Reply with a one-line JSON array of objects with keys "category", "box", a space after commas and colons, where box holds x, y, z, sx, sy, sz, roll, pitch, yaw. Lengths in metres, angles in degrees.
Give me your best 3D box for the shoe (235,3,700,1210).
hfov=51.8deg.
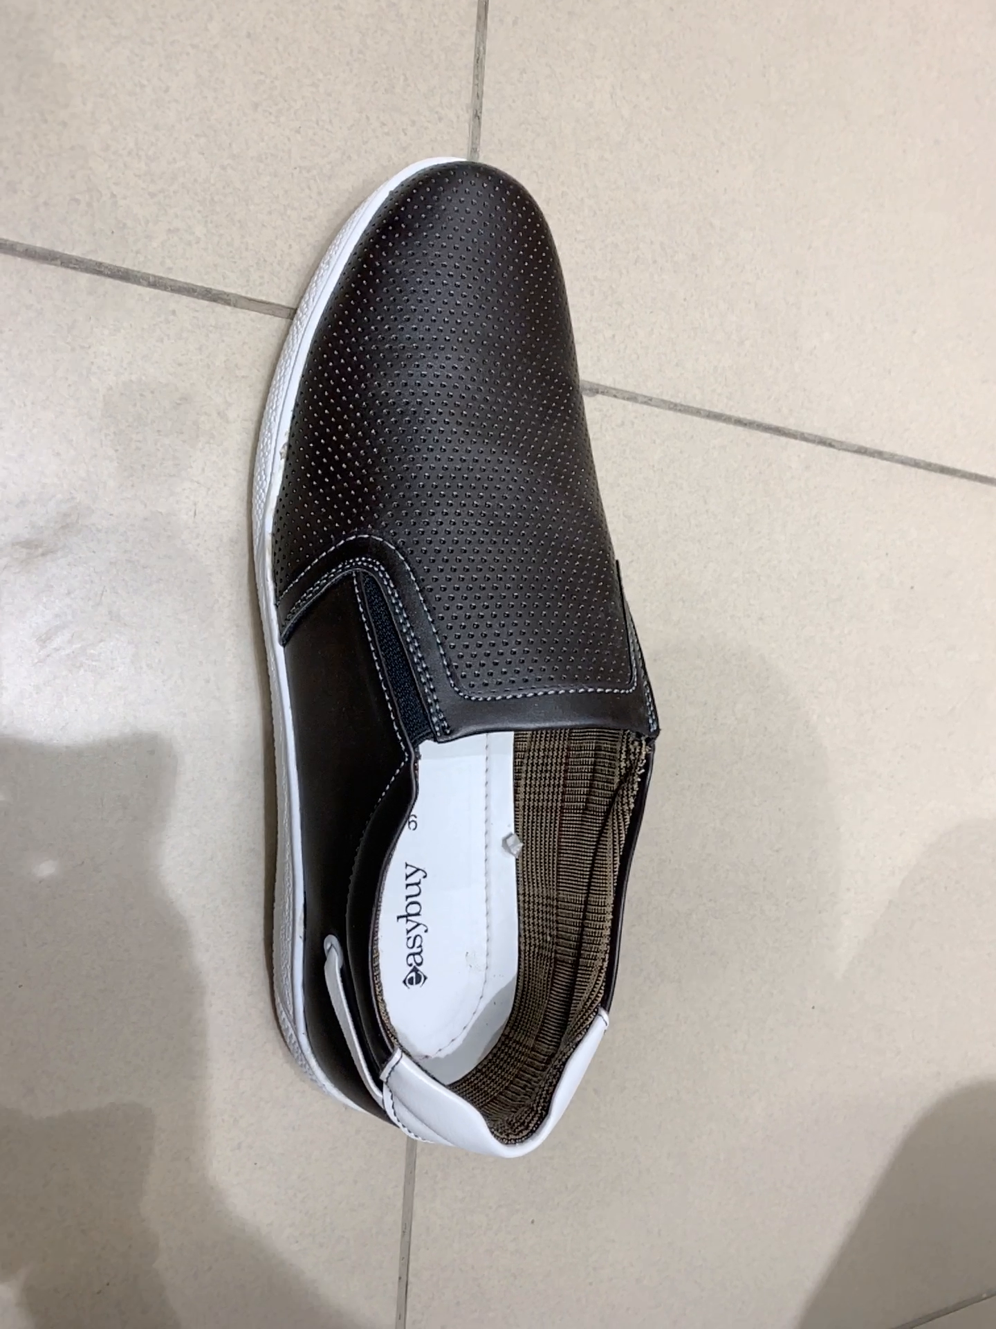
[{"category": "shoe", "box": [-0.013, -0.013, 0.321, 0.110, 0.090, 0.300, 1, 91, -29]}]
